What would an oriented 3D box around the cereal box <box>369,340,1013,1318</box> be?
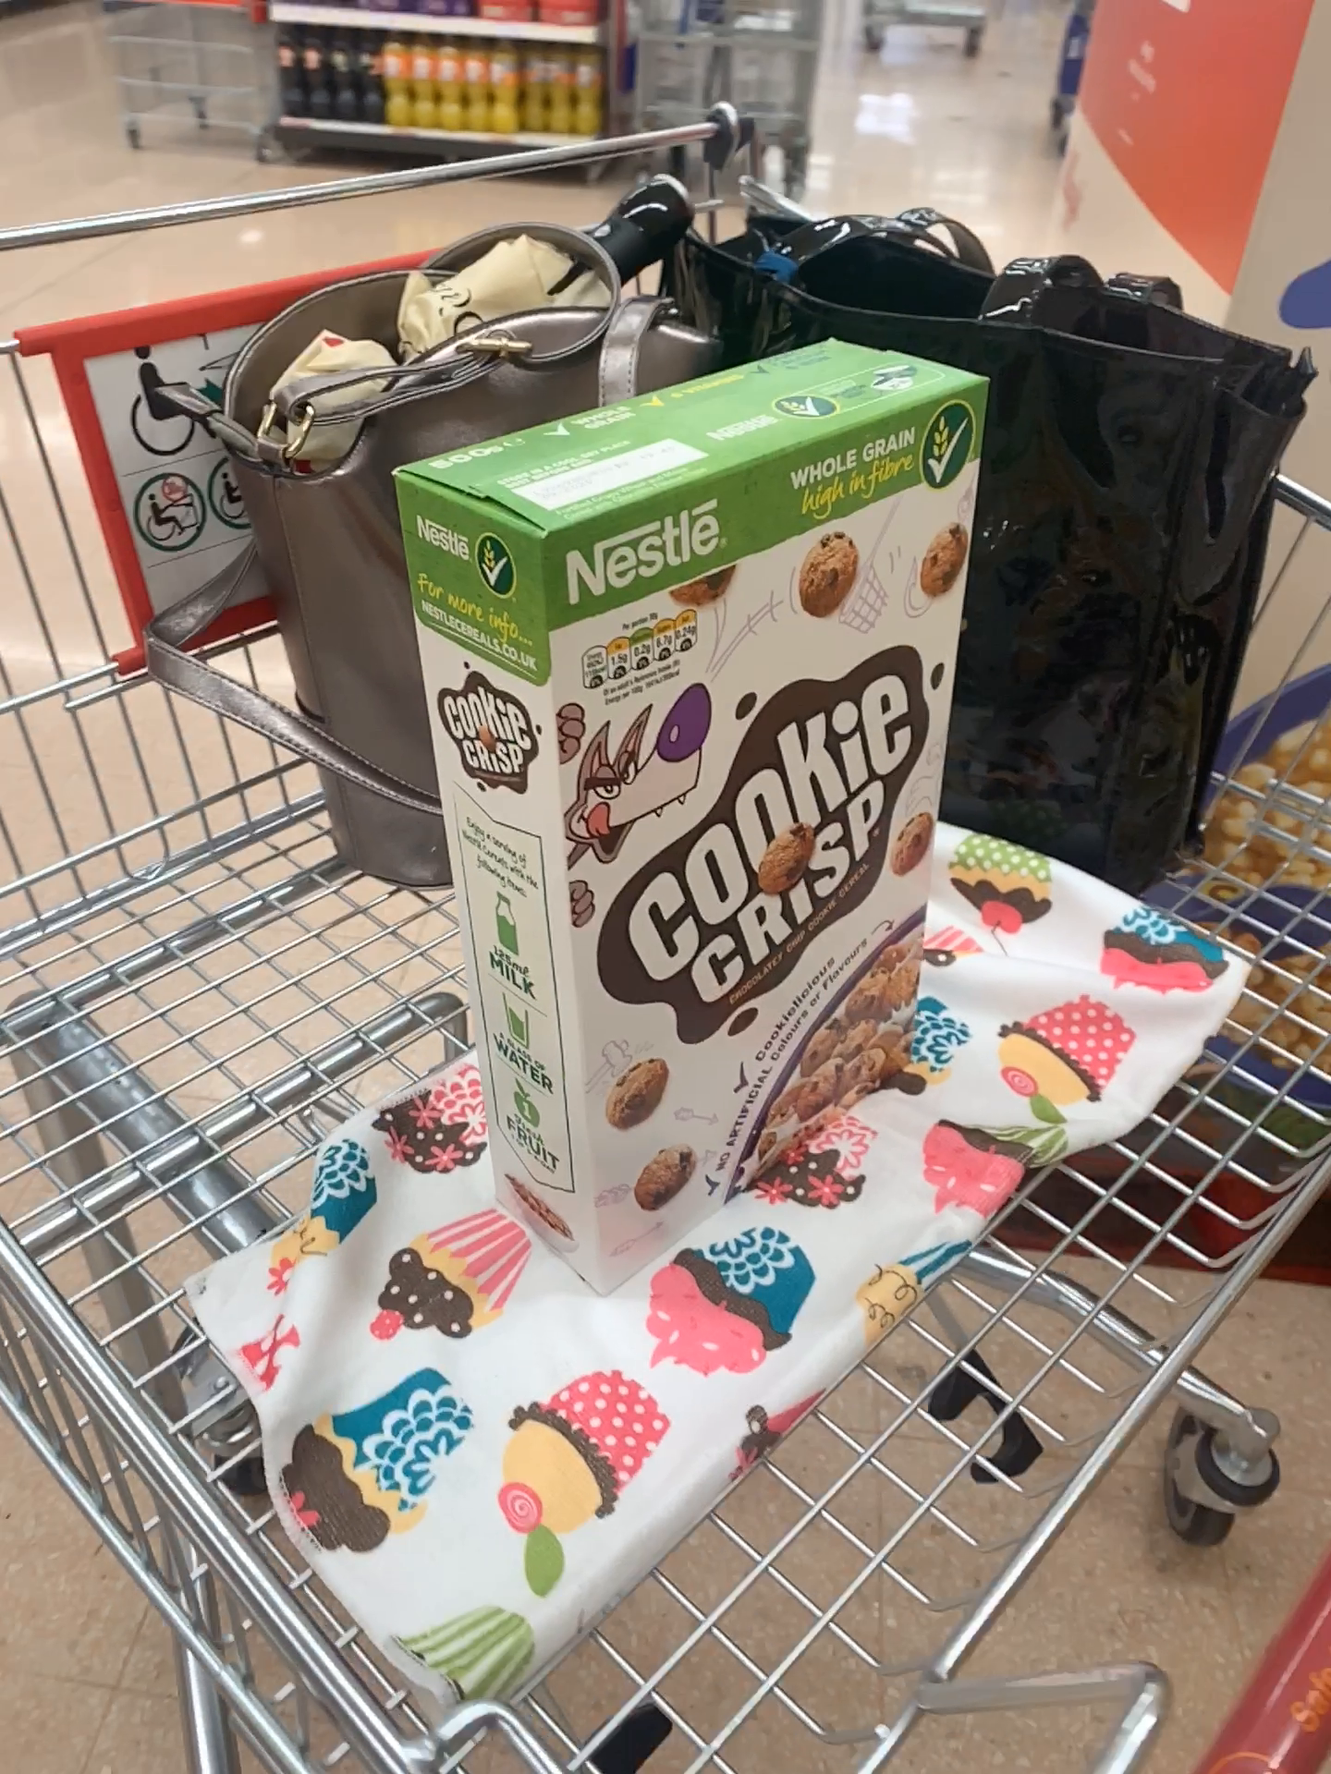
[{"bbox_3d":[0.020,-0.022,0.519,0.221,0.307,0.070,-29,43,-35],"label":"cereal box"}]
